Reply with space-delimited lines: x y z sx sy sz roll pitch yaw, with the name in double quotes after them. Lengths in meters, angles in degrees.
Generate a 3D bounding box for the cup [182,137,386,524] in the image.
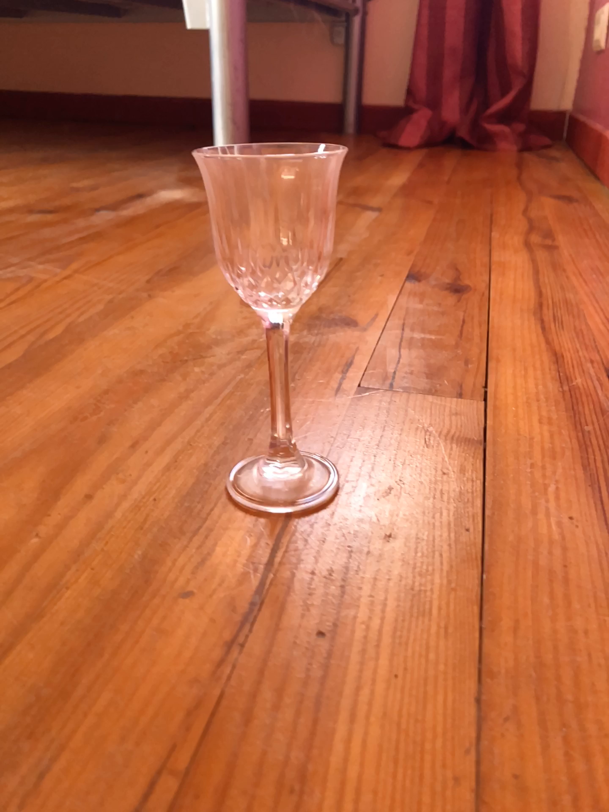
-0.008 -0.031 0.264 0.058 0.133 0.061 -1 25 1 "cup"
